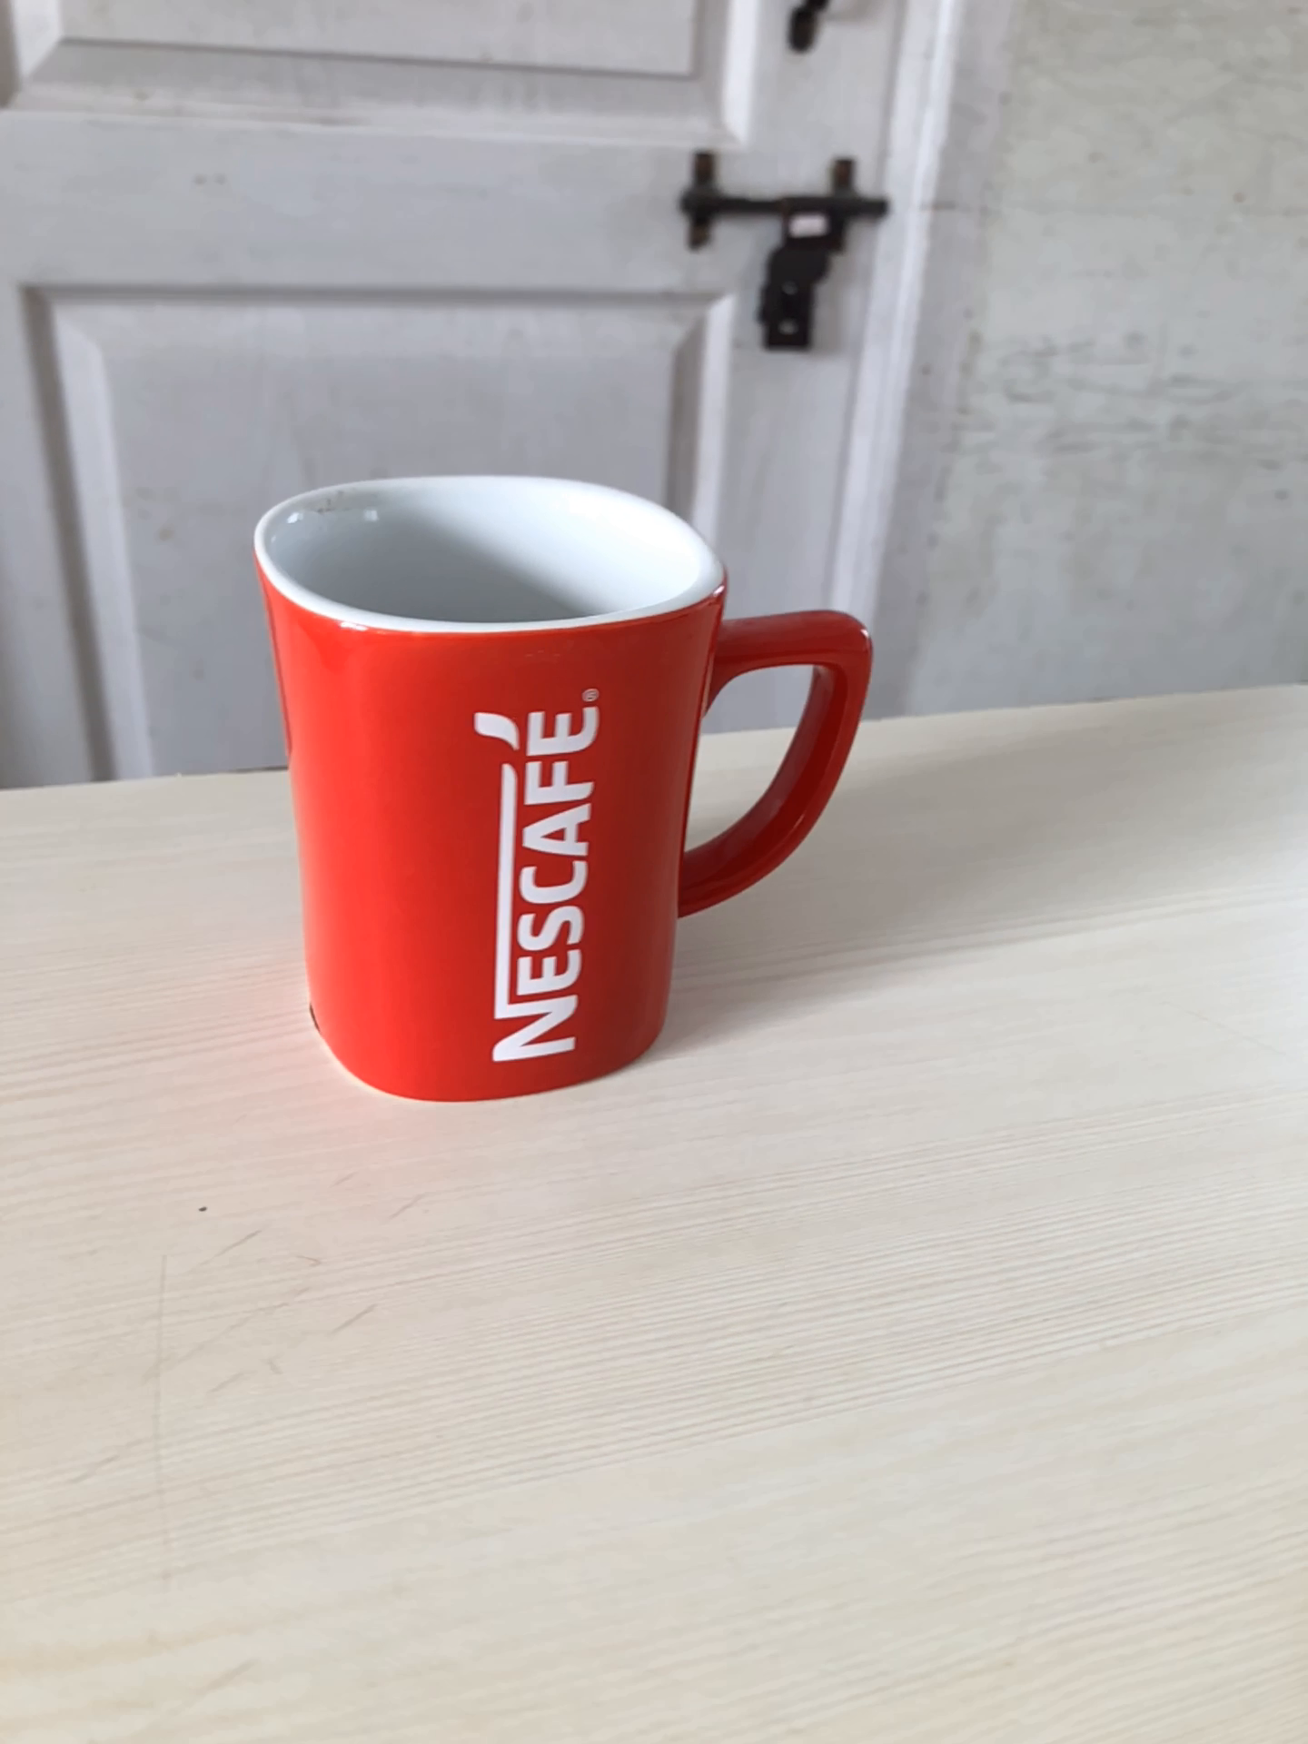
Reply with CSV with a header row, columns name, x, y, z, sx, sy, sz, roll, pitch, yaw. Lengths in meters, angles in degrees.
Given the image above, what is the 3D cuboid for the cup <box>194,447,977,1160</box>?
name,x,y,z,sx,sy,sz,roll,pitch,yaw
cup,-0.017,-0.019,0.266,0.110,0.089,0.080,-8,33,-20
